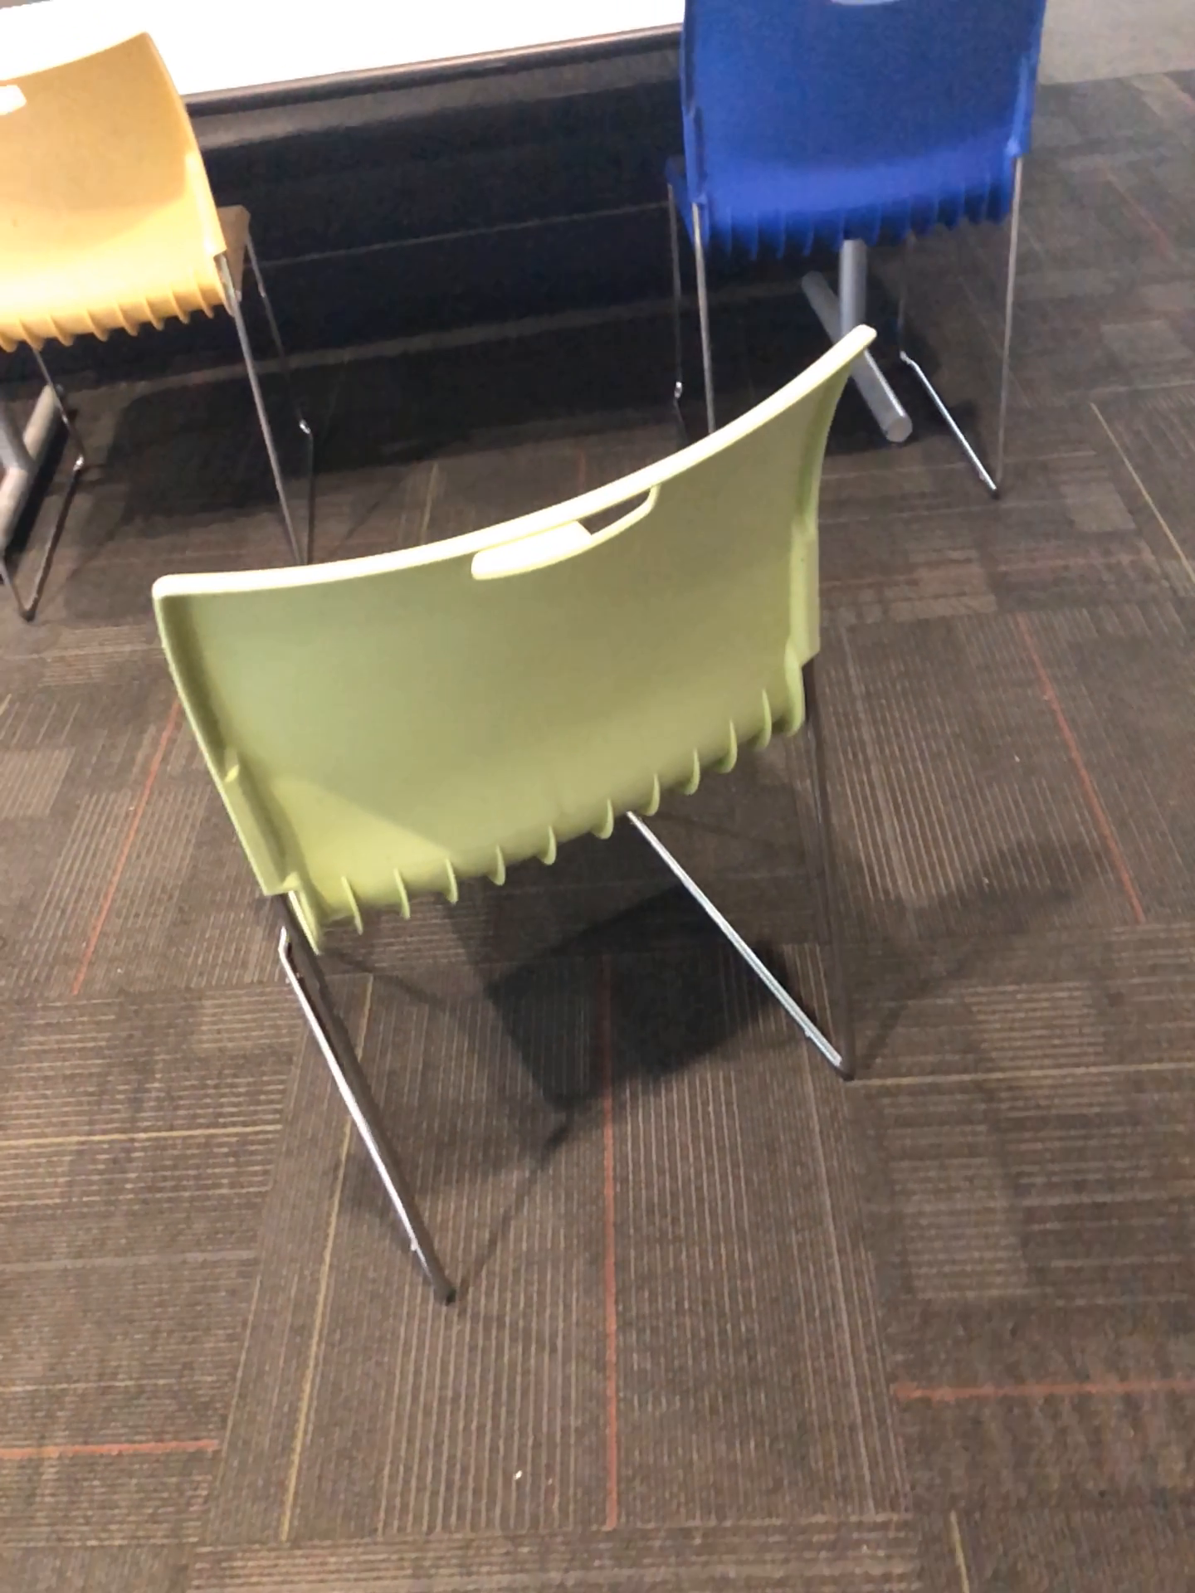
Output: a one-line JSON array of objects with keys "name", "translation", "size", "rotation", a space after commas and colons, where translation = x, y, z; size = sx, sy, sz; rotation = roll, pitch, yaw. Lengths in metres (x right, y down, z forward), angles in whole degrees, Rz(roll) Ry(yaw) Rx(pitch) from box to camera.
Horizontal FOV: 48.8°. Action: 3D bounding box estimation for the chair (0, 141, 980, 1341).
[{"name": "chair", "translation": [-0.092, -0.052, 1.171], "size": [0.540, 0.756, 0.543], "rotation": [-23, 45, -17]}]
